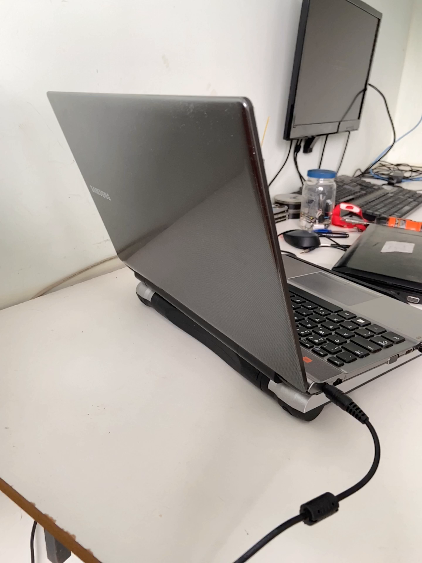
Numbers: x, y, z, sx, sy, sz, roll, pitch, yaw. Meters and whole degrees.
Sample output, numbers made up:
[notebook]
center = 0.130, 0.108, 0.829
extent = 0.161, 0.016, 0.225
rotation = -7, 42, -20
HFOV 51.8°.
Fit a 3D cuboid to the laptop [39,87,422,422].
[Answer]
[laptop]
center = 0.040, -0.087, 0.495
extent = 0.335, 0.213, 0.368
rotation = -11, 26, -34
